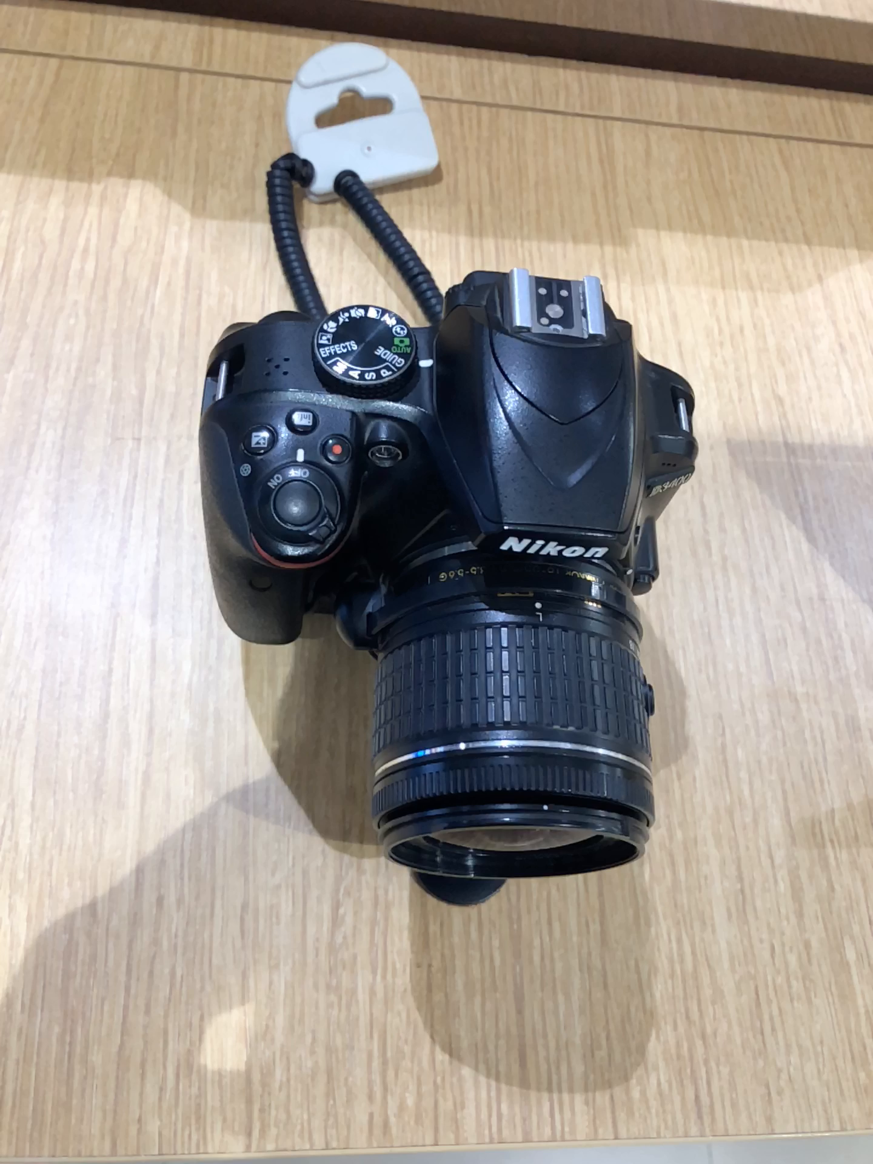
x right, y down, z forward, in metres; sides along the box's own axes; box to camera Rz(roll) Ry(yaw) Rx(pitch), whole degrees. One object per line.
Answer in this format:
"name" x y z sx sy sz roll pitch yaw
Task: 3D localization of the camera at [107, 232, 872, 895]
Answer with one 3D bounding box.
"camera" 0.008 0.002 0.223 0.133 0.084 0.120 3 63 -8
